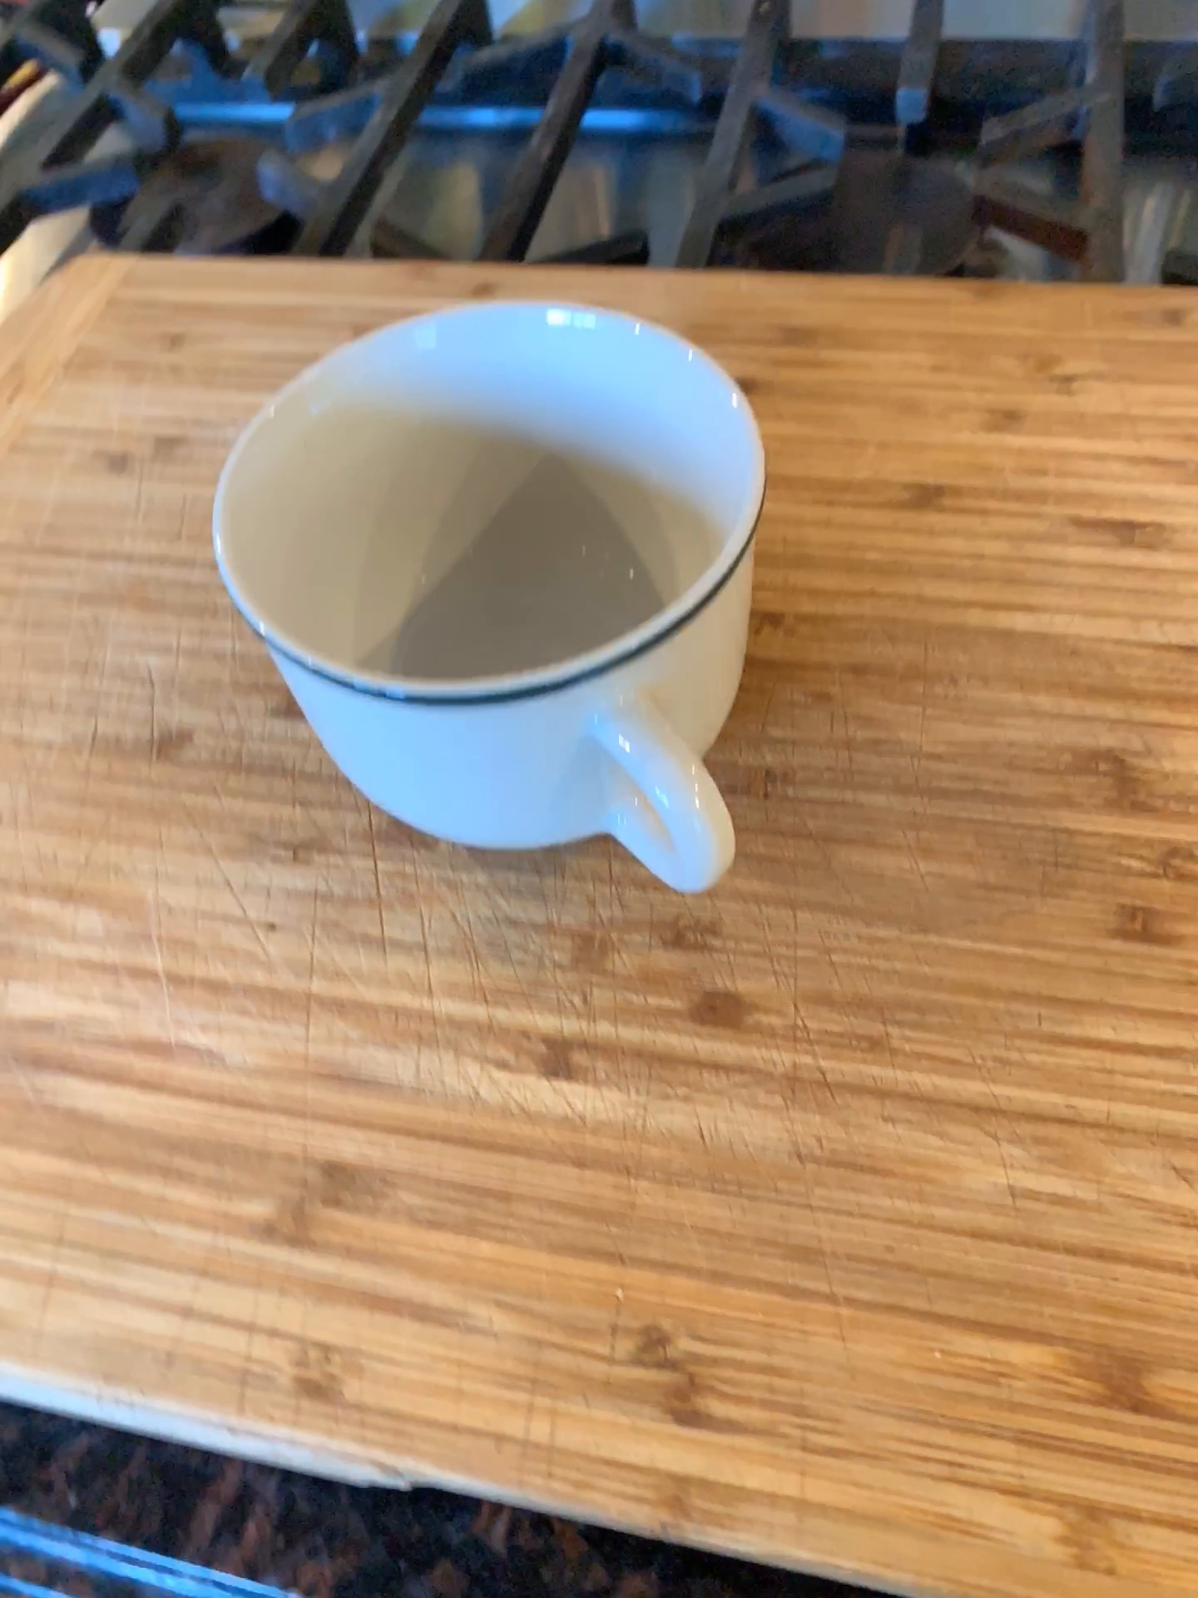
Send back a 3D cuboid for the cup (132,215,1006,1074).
[{"bbox_3d":[-0.009,-0.034,0.224,0.090,0.060,0.120,-31,58,-14],"label":"cup"}]
